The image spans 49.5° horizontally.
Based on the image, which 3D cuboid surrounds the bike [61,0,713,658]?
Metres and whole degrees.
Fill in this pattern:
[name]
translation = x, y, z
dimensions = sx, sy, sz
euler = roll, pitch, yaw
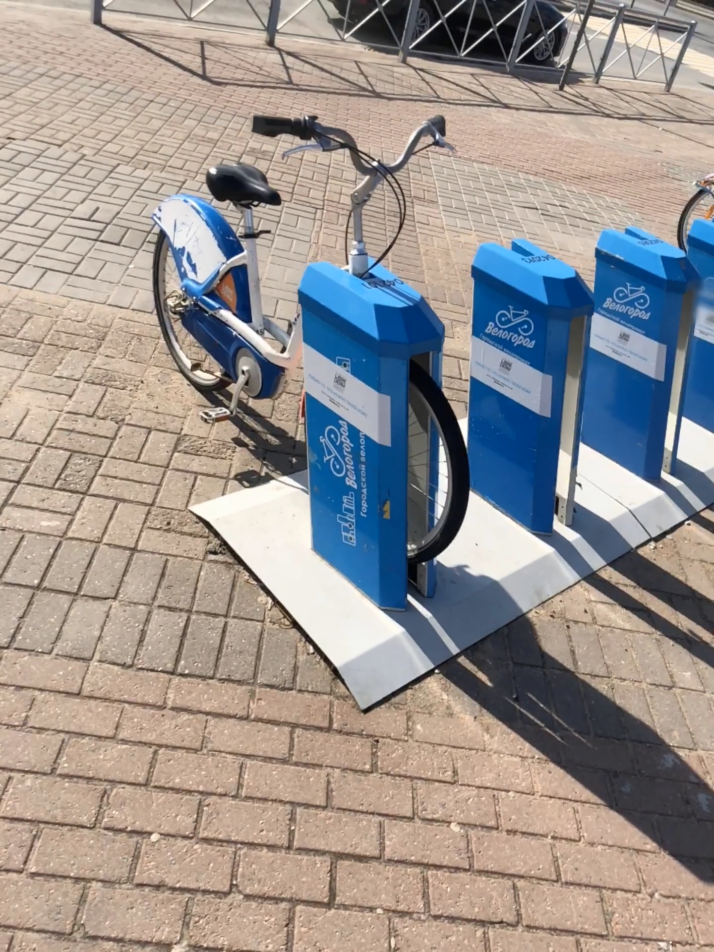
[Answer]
[bike]
translation = -0.189, -0.534, 2.264
dimensions = 0.683, 1.233, 1.679
euler = -17, 43, -37
